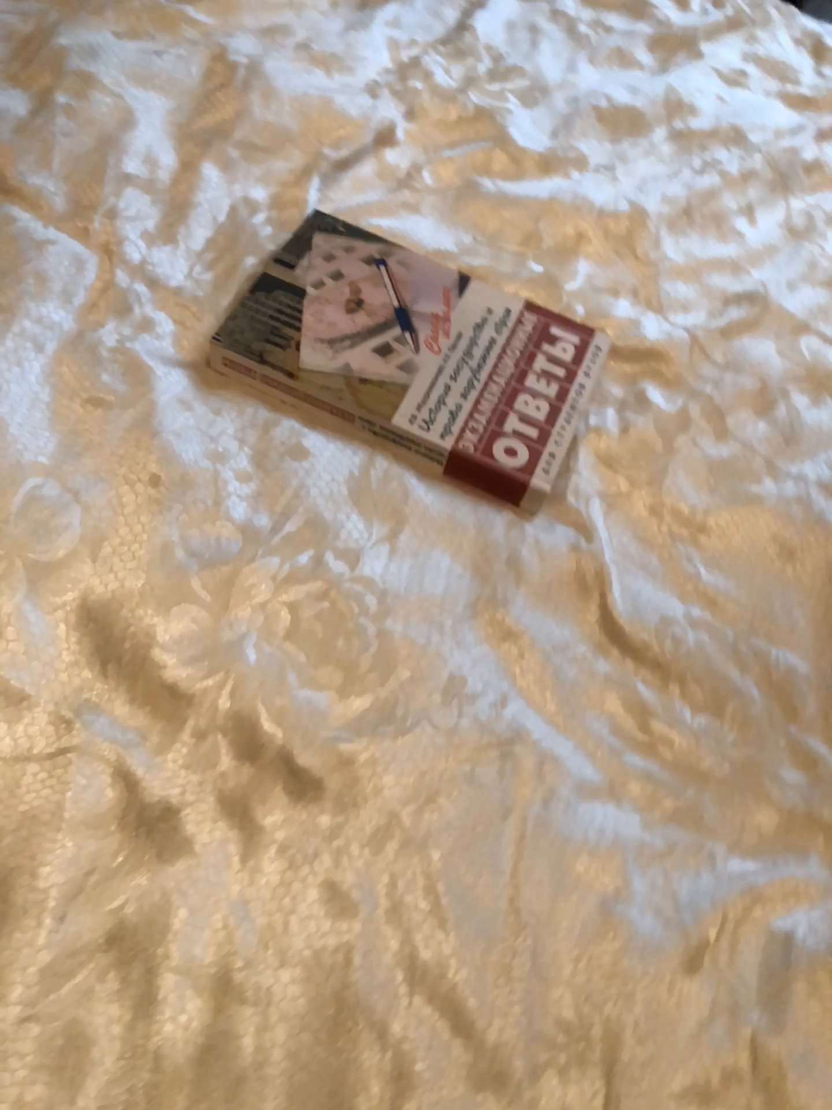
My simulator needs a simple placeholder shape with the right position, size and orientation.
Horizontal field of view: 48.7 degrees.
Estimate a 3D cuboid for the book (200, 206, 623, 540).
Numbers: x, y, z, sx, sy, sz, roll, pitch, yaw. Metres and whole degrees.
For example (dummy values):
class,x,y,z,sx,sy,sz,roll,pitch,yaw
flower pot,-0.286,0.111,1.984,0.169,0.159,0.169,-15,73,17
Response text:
class,x,y,z,sx,sy,sz,roll,pitch,yaw
book,0.002,-0.116,0.555,0.210,0.030,0.151,24,58,4
